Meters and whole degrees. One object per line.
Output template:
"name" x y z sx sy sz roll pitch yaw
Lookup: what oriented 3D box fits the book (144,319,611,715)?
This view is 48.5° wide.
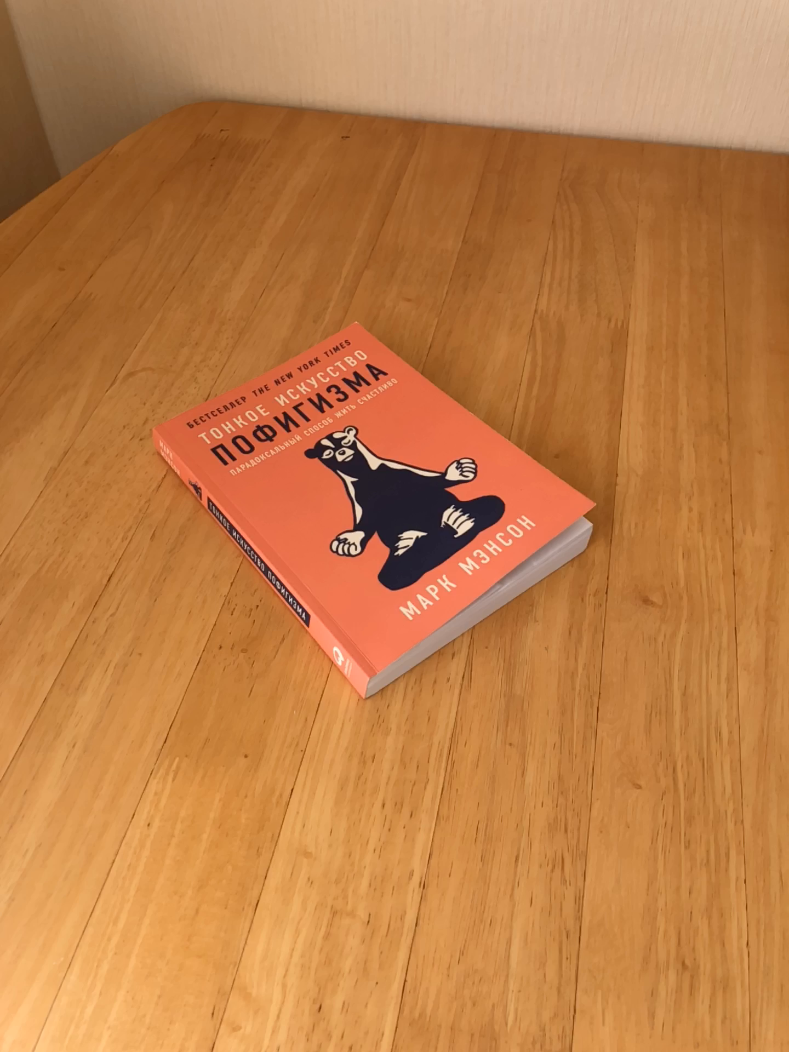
"book" -0.014 -0.020 0.451 0.143 0.033 0.197 -31 56 -24
